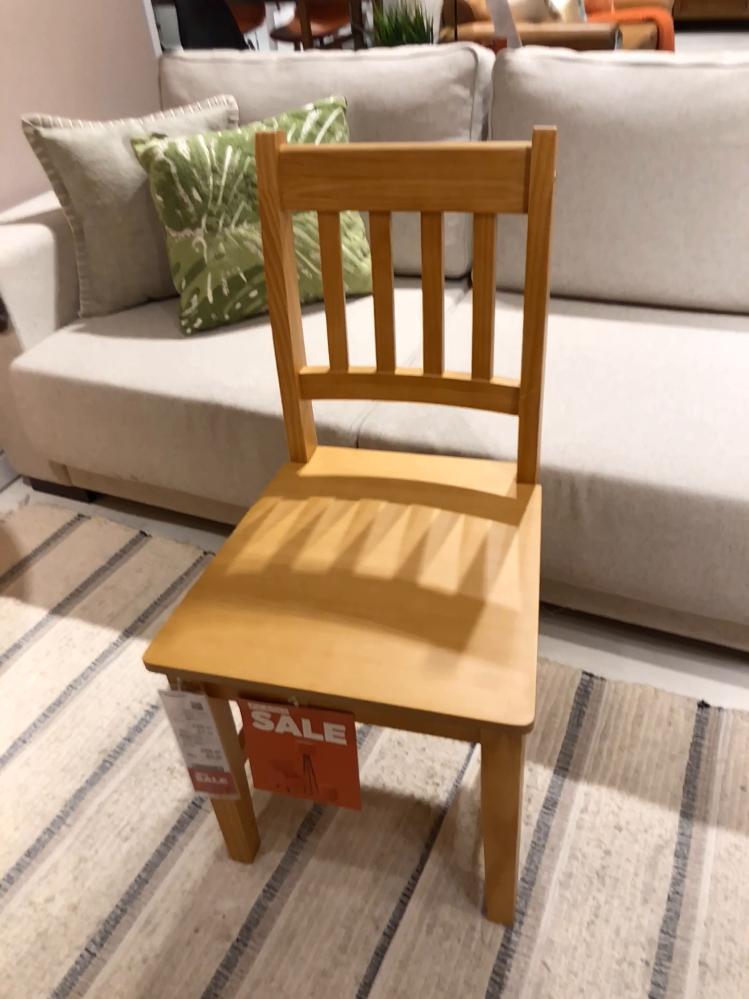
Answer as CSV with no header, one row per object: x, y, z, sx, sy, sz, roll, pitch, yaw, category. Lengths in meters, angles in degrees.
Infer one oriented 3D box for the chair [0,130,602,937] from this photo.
0.002,0.041,1.032,0.460,0.814,0.523,6,38,15,chair
